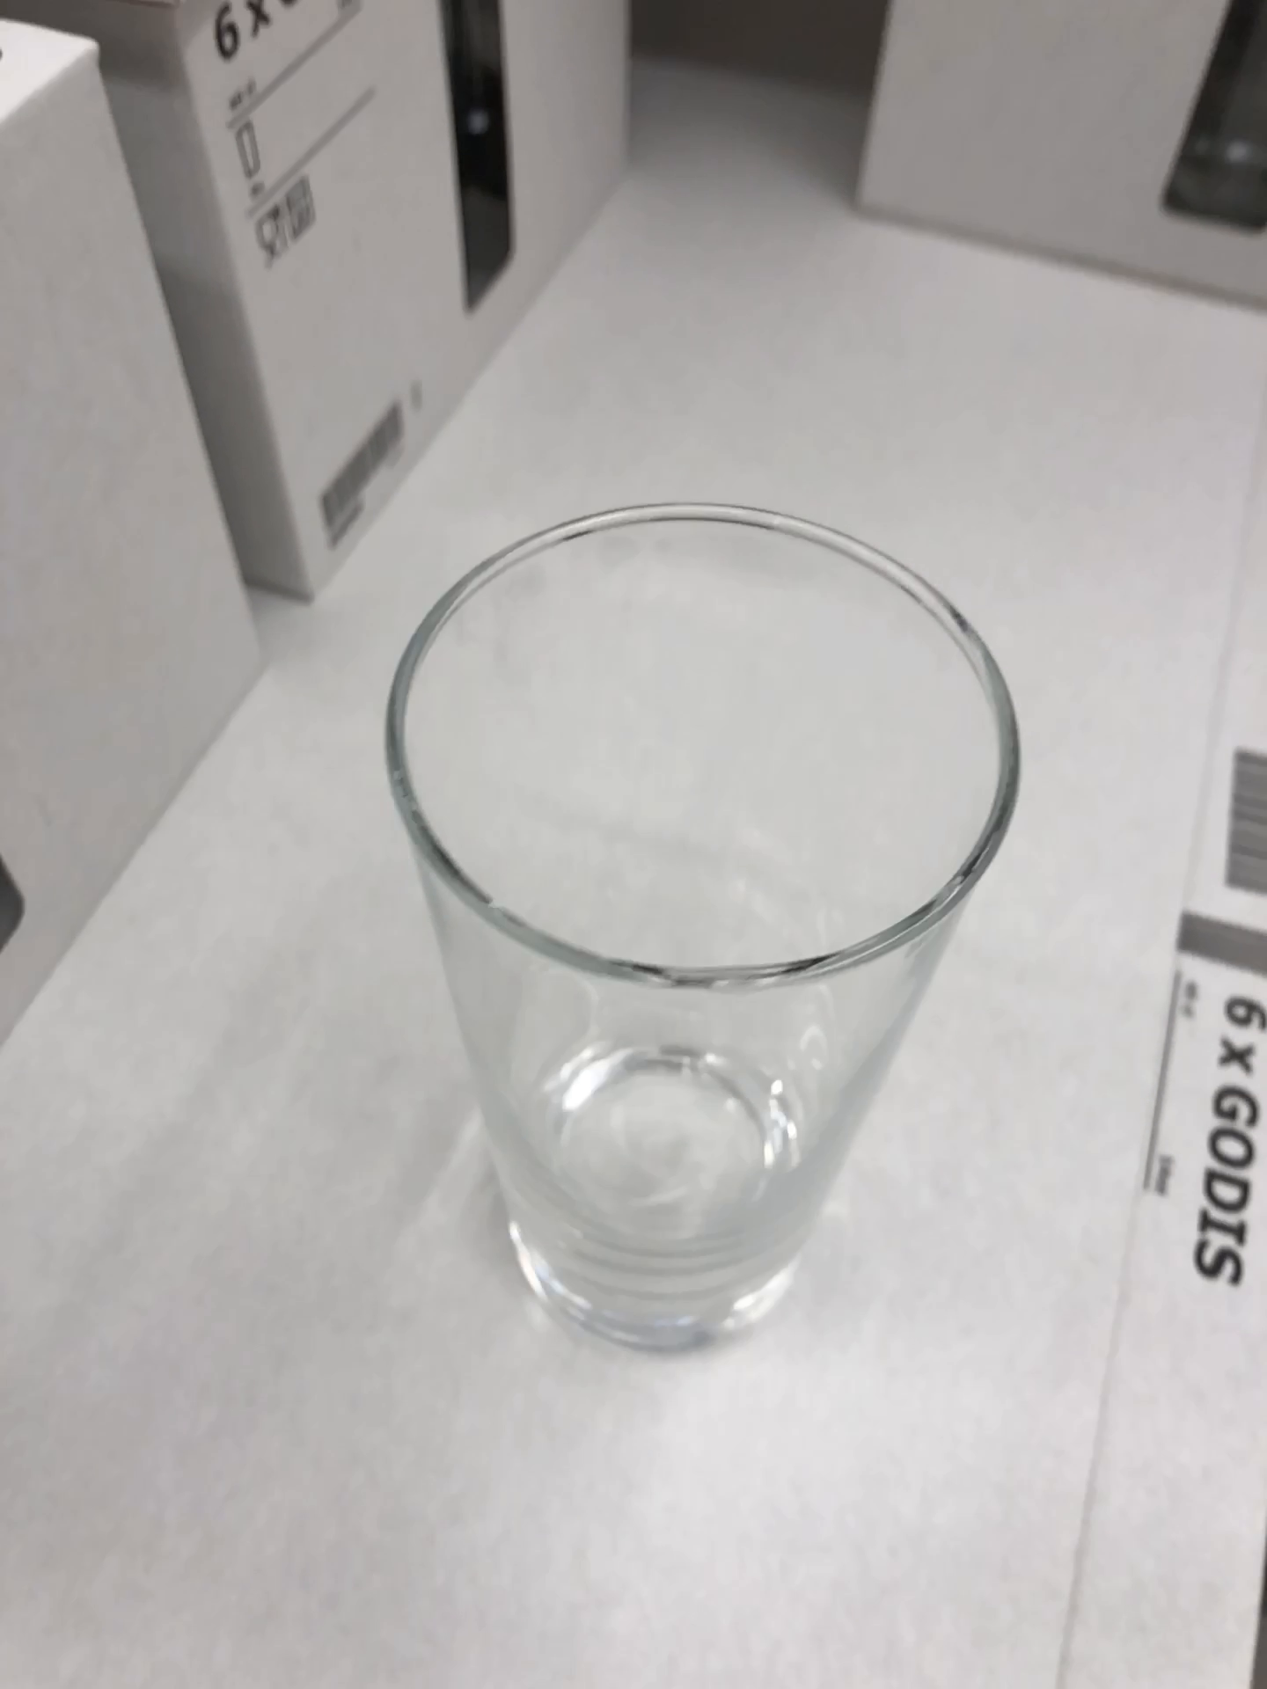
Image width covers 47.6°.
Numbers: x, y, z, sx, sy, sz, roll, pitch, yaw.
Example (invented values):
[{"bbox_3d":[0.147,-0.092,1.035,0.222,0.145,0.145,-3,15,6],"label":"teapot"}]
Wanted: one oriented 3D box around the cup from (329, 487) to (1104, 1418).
[{"bbox_3d":[0.004,0.027,0.227,0.080,0.140,0.080,1,54,-1],"label":"cup"}]
